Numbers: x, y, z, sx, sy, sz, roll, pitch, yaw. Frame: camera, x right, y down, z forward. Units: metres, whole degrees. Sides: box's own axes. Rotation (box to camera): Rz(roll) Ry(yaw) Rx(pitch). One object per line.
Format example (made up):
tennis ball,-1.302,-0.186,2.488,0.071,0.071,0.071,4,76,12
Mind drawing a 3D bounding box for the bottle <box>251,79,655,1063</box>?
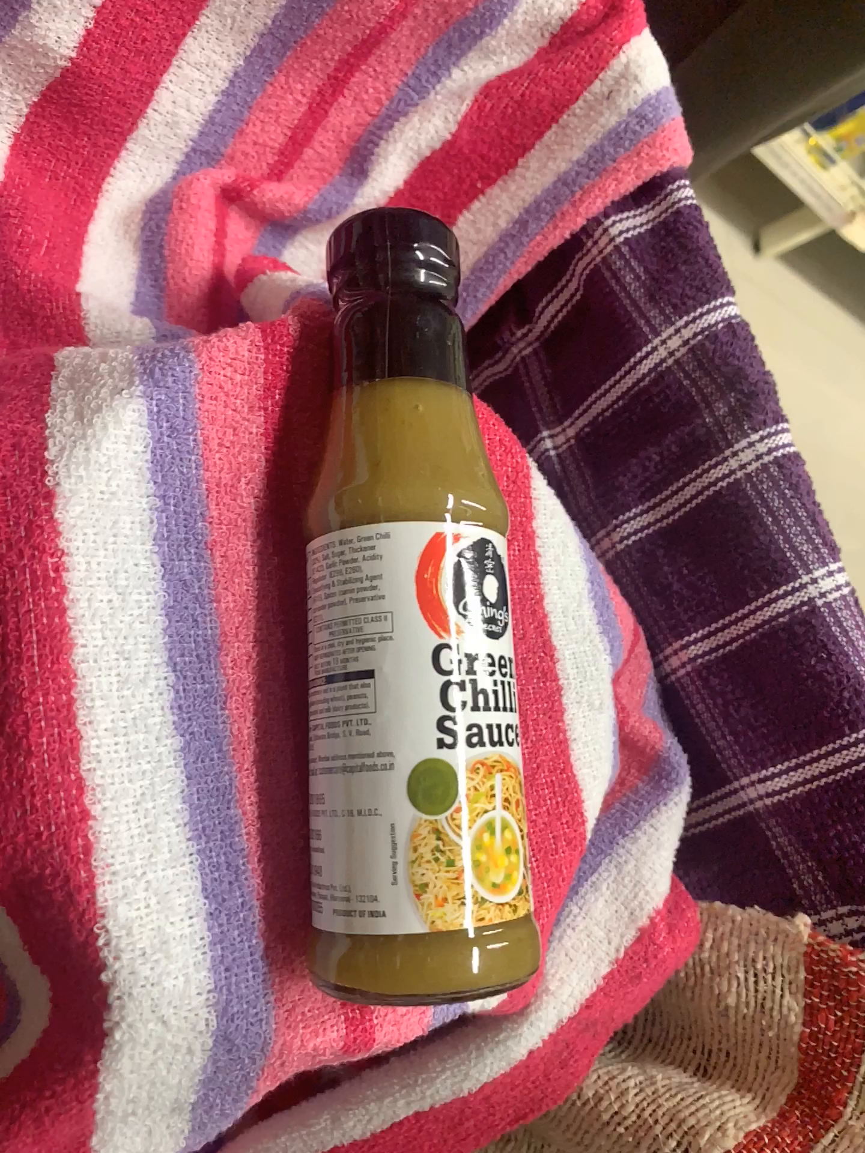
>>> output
bottle,0.000,-0.003,0.186,0.050,0.050,0.170,6,74,-40
